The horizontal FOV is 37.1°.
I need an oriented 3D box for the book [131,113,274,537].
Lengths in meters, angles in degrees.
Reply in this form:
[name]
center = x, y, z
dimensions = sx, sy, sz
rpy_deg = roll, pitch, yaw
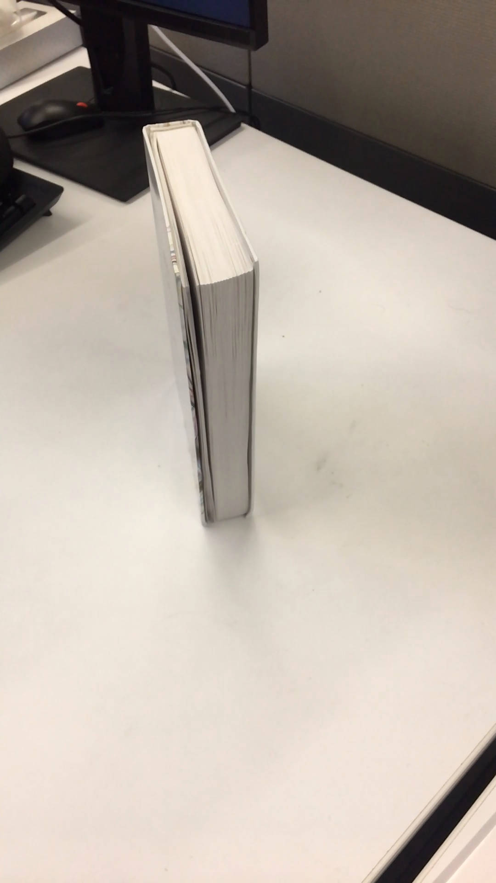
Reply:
[book]
center = -0.029, -0.075, 0.525
dimensions = 0.050, 0.230, 0.180
rpy_deg = -11, 49, -7
